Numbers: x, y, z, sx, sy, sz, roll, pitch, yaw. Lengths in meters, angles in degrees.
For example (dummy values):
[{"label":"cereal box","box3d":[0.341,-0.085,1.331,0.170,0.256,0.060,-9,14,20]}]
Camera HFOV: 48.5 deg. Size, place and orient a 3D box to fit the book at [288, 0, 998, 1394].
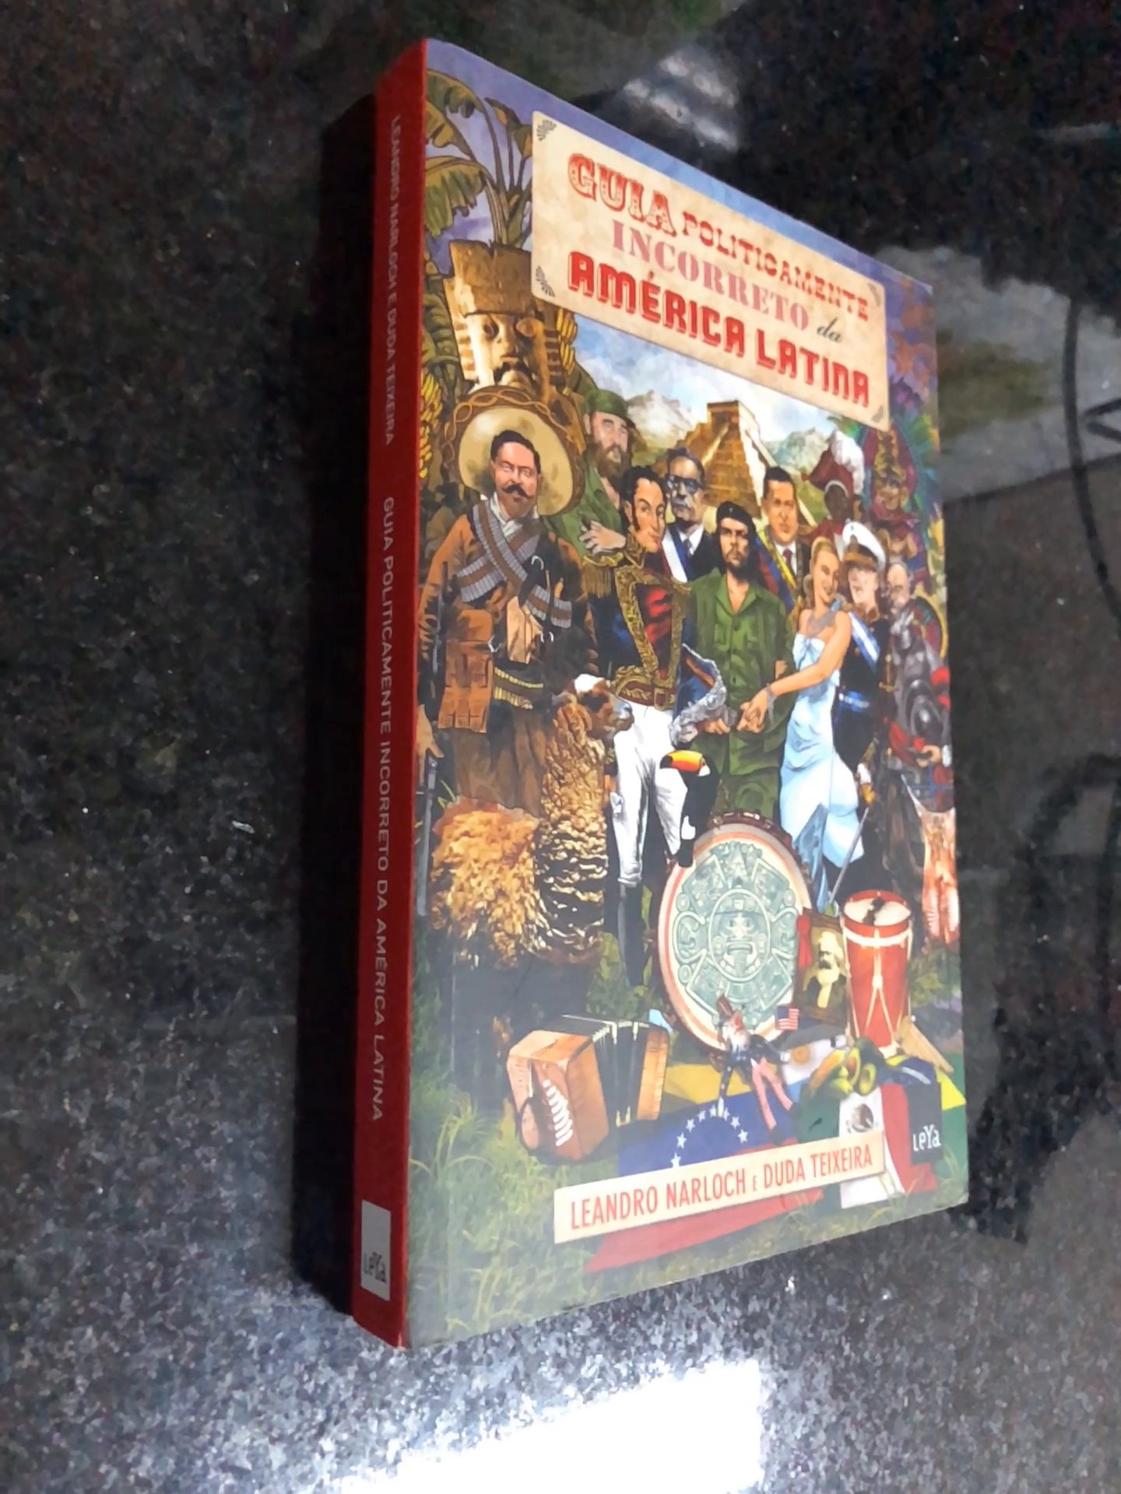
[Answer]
[{"label":"book","box3d":[0.024,-0.009,0.256,0.151,0.040,0.220,5,81,-39]}]
